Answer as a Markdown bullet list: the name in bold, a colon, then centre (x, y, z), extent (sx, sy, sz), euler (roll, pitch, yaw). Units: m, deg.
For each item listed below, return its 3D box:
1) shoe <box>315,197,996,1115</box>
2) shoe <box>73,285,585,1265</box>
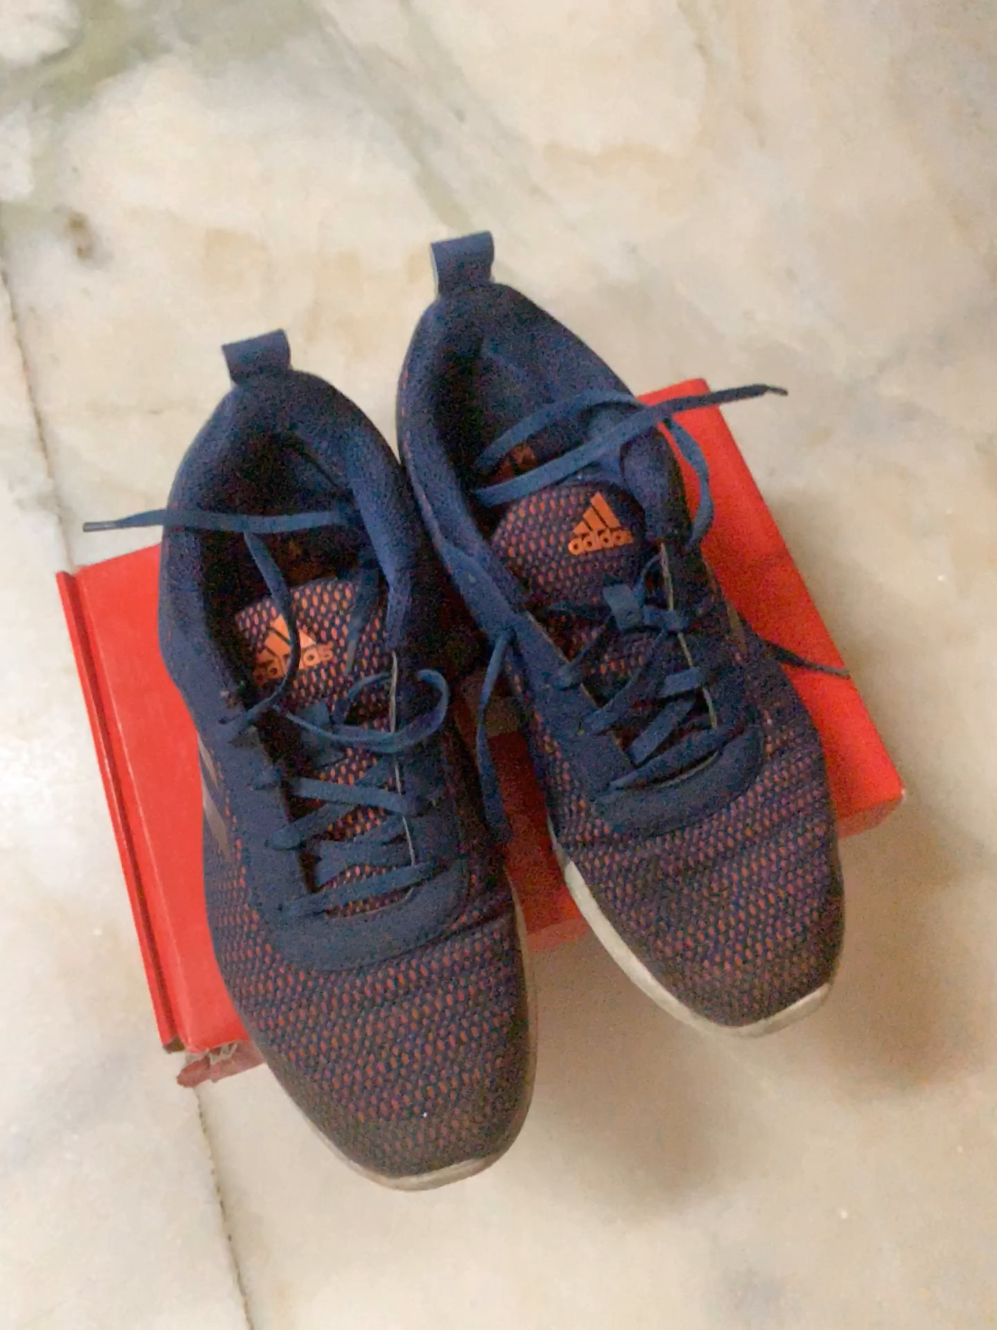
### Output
- **shoe**: centre (0.038, -0.011, 0.357), extent (0.100, 0.080, 0.281), euler (-22, 74, -7)
- **shoe**: centre (-0.064, 0.027, 0.377), extent (0.100, 0.100, 0.301), euler (-15, 73, -5)
